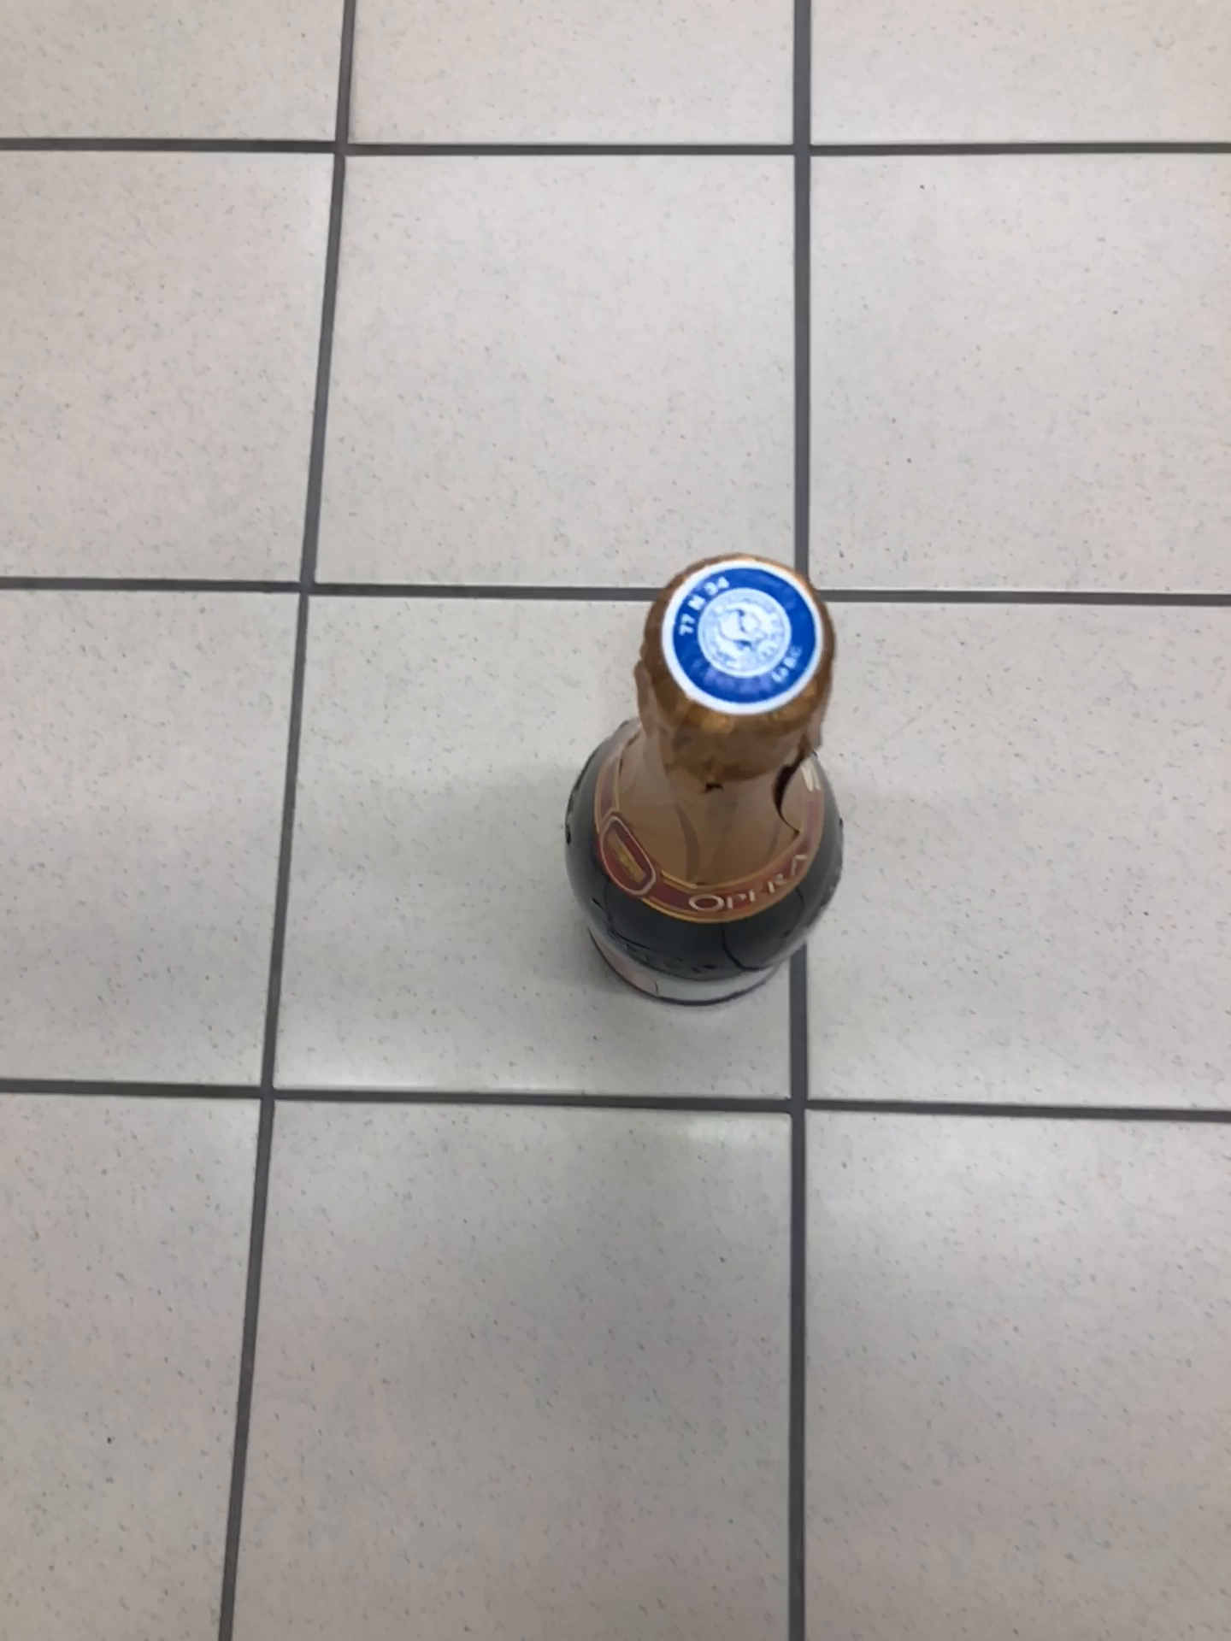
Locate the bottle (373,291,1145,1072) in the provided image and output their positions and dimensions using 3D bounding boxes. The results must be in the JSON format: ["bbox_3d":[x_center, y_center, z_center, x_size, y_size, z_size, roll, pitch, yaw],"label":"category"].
[{"bbox_3d":[0.026,0.002,0.358,0.090,0.300,0.090,0,78,2],"label":"bottle"}]
